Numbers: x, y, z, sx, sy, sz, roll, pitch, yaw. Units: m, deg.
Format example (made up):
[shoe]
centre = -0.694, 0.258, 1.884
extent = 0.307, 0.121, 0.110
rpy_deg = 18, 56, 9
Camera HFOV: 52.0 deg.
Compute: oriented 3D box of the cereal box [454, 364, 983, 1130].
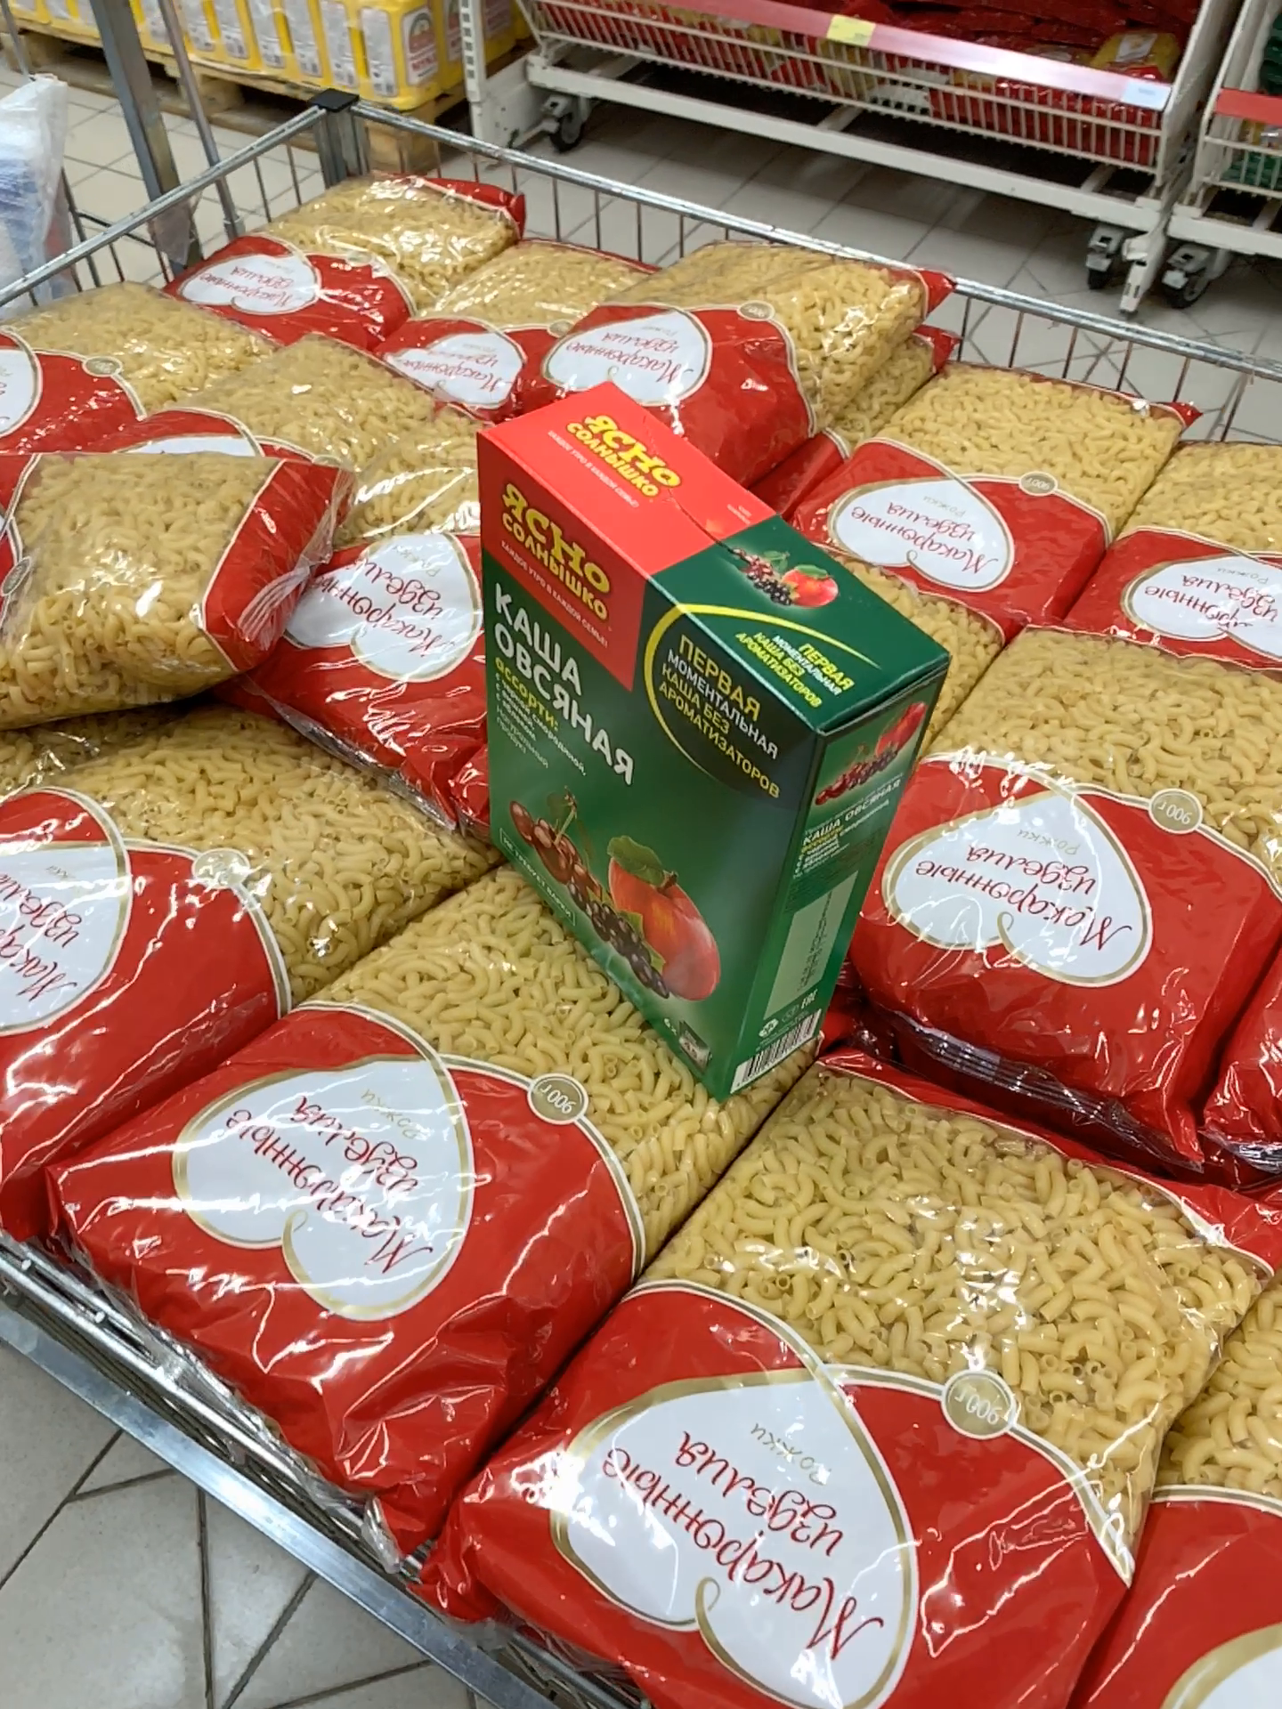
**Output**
[cereal box]
centre = 0.008, -0.028, 0.444
extent = 0.060, 0.198, 0.161
rpy_deg = -29, 60, -26
